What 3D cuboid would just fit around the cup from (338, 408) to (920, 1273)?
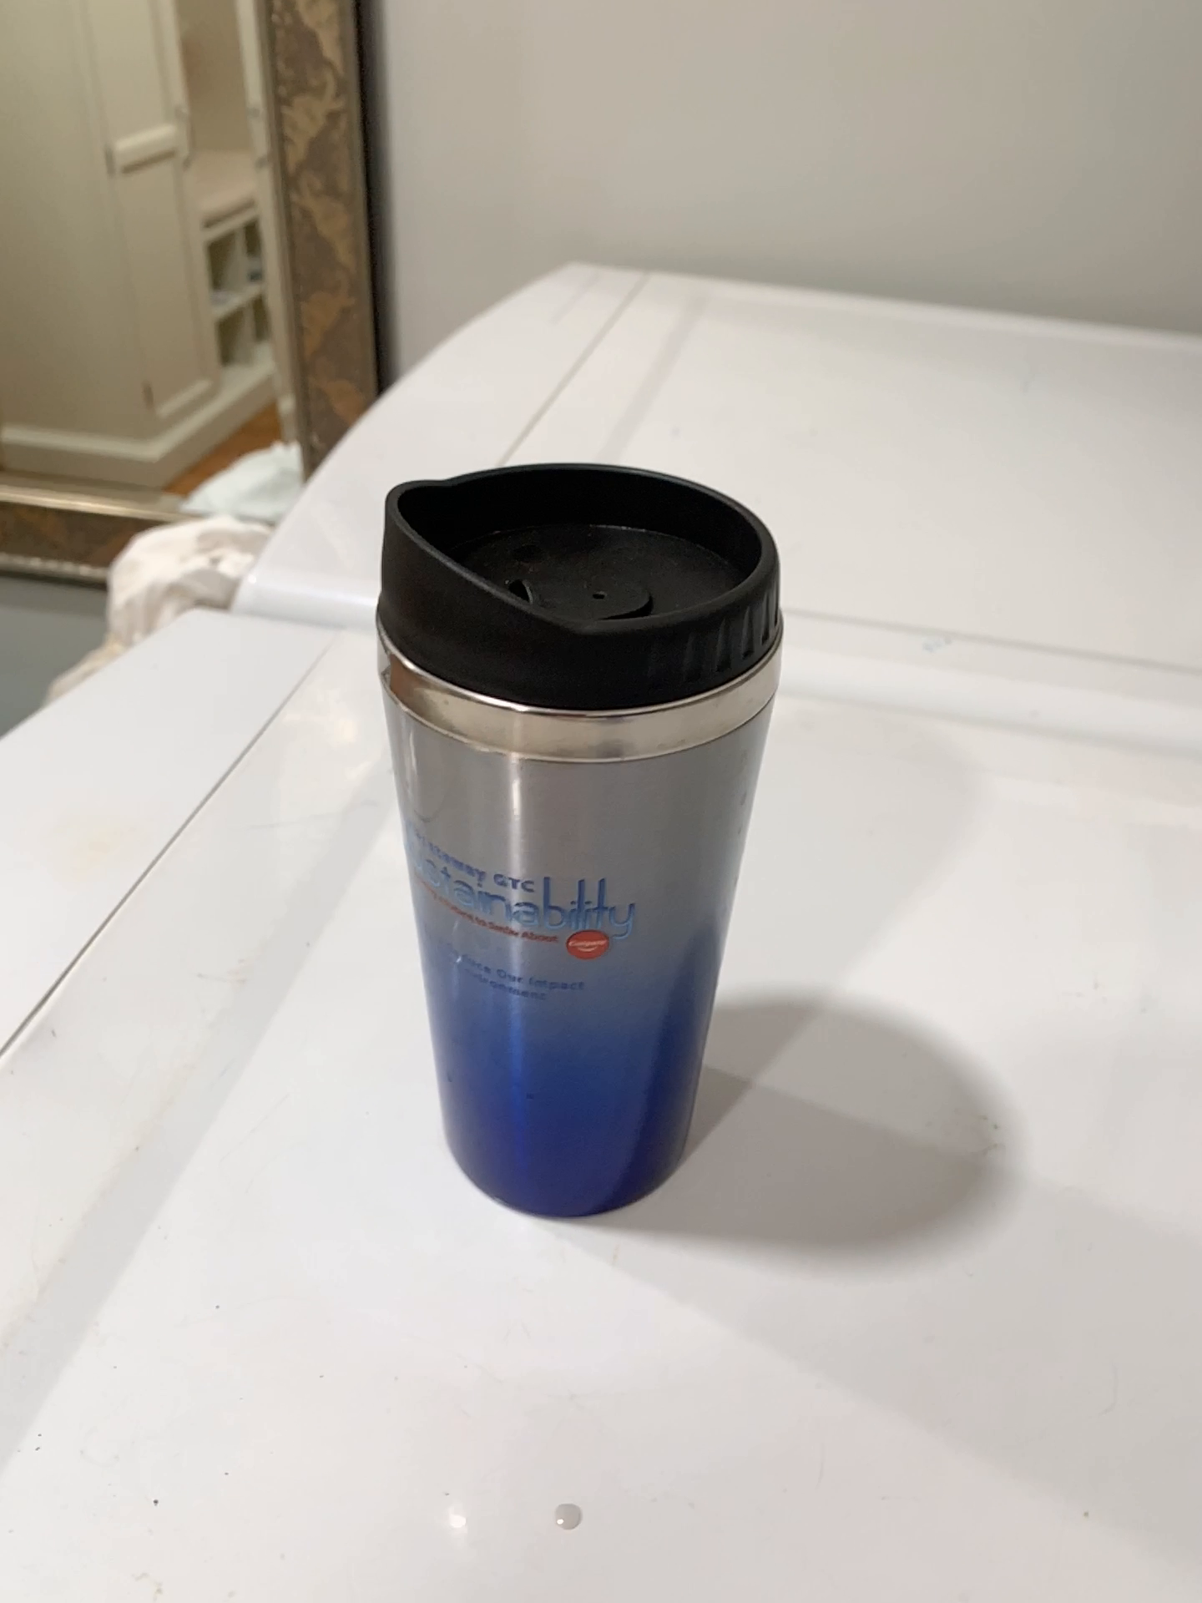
[{"bbox_3d":[-0.004,0.011,0.283,0.089,0.171,0.080,-7,37,-16],"label":"cup"}]
